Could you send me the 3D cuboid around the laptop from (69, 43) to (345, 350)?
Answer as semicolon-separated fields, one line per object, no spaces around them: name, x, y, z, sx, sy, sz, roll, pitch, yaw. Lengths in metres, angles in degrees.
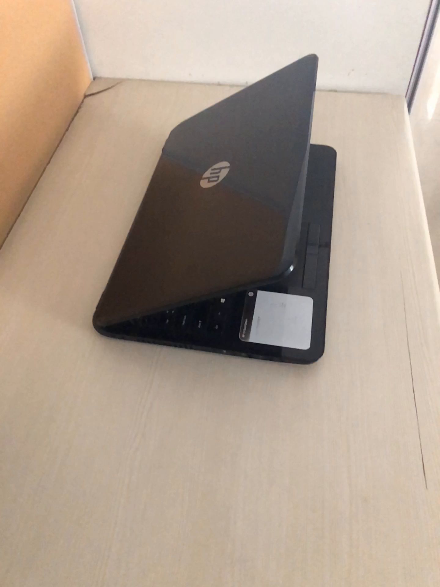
laptop;0.013;-0.134;0.569;0.223;0.131;0.354;8;53;7
